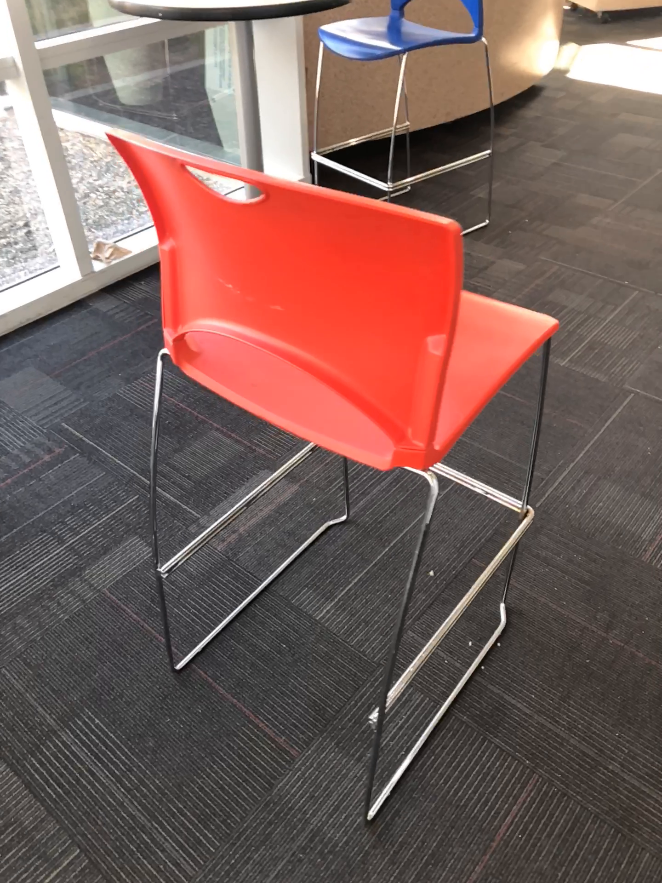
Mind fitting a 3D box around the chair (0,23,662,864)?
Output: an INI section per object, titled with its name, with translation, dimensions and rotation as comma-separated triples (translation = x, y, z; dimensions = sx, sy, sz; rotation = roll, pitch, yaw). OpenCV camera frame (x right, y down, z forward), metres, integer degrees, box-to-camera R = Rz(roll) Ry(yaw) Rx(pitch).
[chair]
translation = 0.024, -0.011, 1.155
dimensions = 0.592, 0.995, 0.662
rotation = 24, 46, 28
